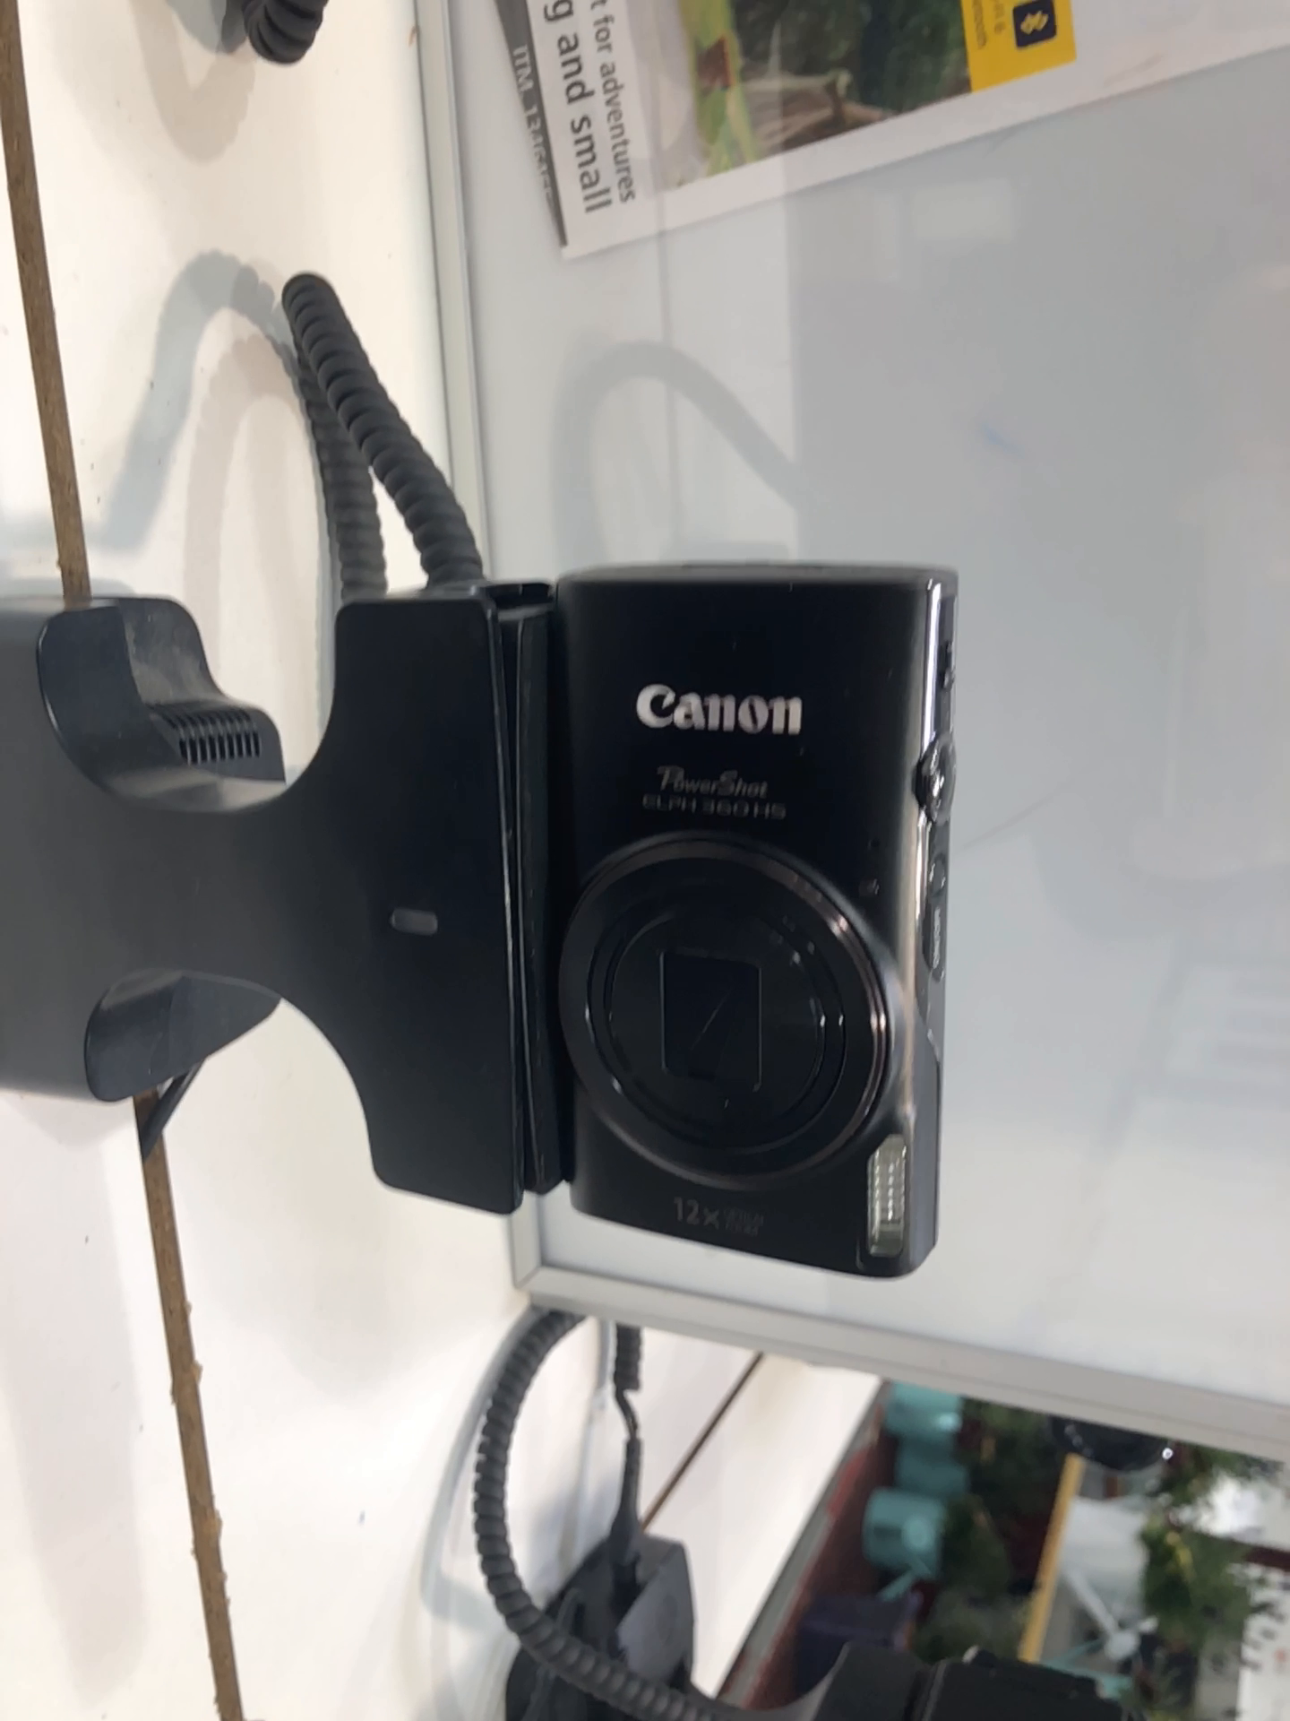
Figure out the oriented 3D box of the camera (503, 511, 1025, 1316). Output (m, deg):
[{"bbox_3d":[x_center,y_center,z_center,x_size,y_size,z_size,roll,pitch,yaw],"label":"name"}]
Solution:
[{"bbox_3d":[0.019,0.005,0.220,0.030,0.070,0.110,-23,113,-63],"label":"camera"}]
